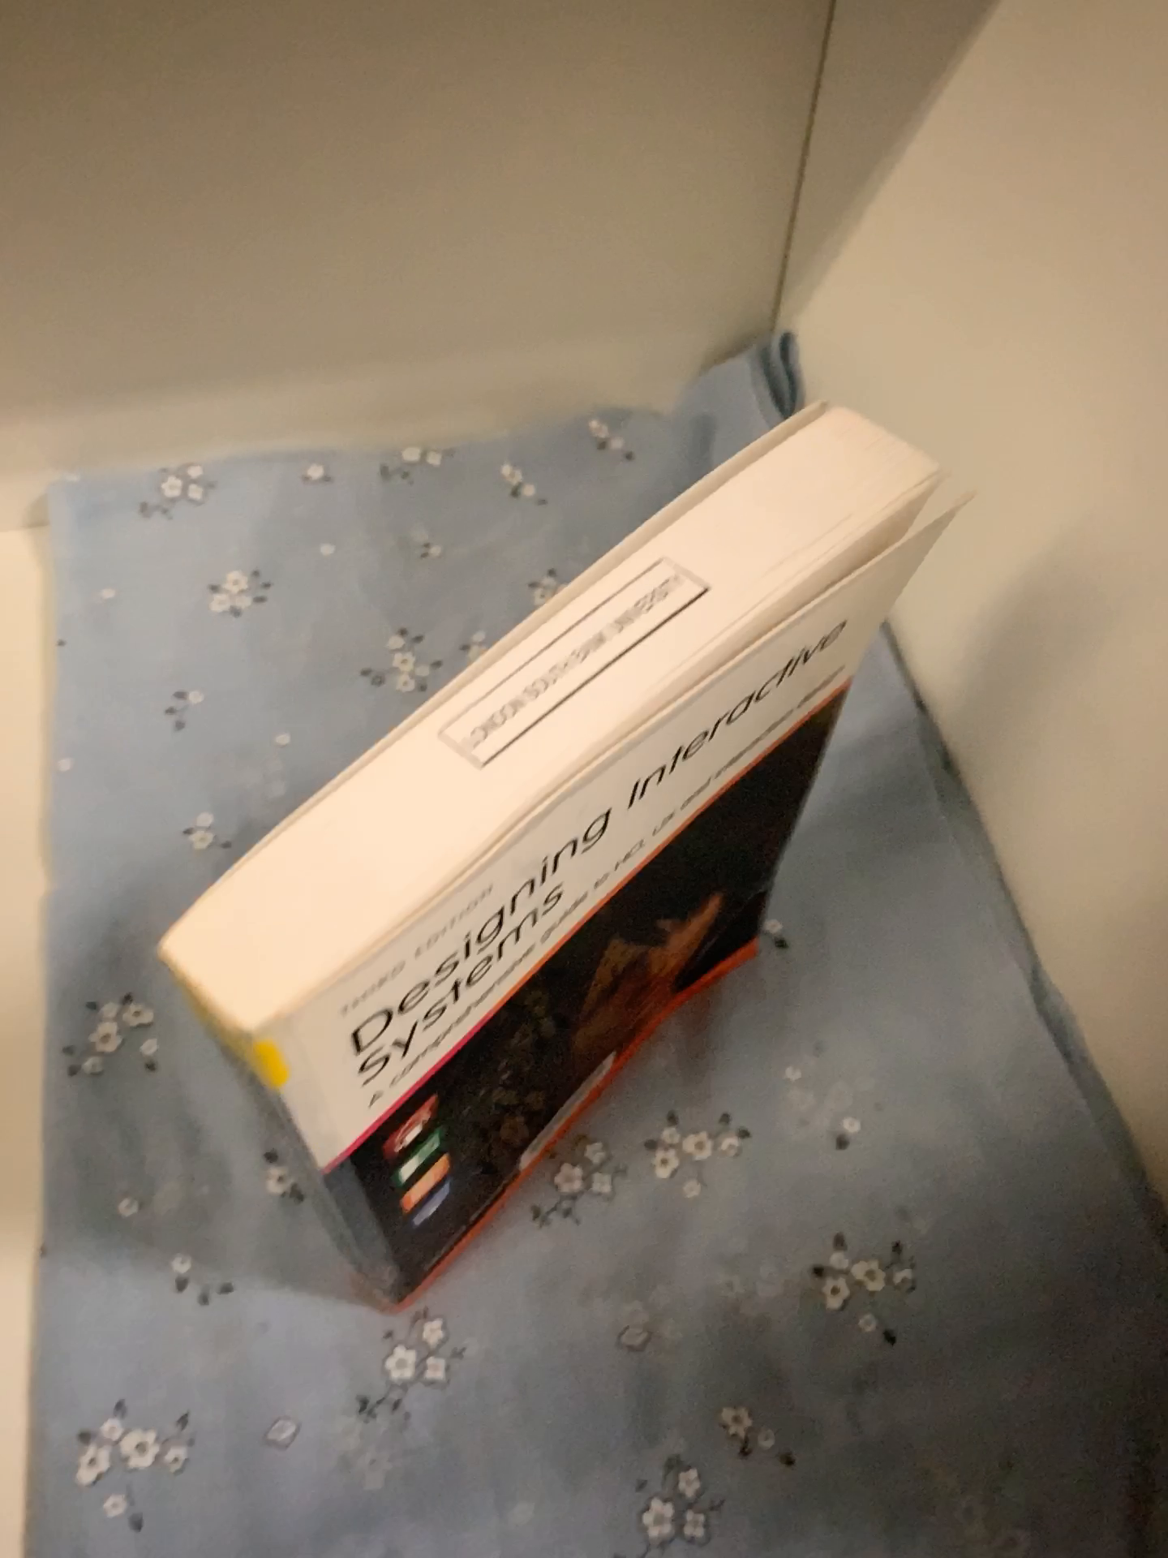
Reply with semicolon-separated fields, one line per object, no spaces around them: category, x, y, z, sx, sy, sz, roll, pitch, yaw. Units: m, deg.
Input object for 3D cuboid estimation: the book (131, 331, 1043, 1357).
book;0.009;0.044;0.346;0.041;0.270;0.216;39;63;20
